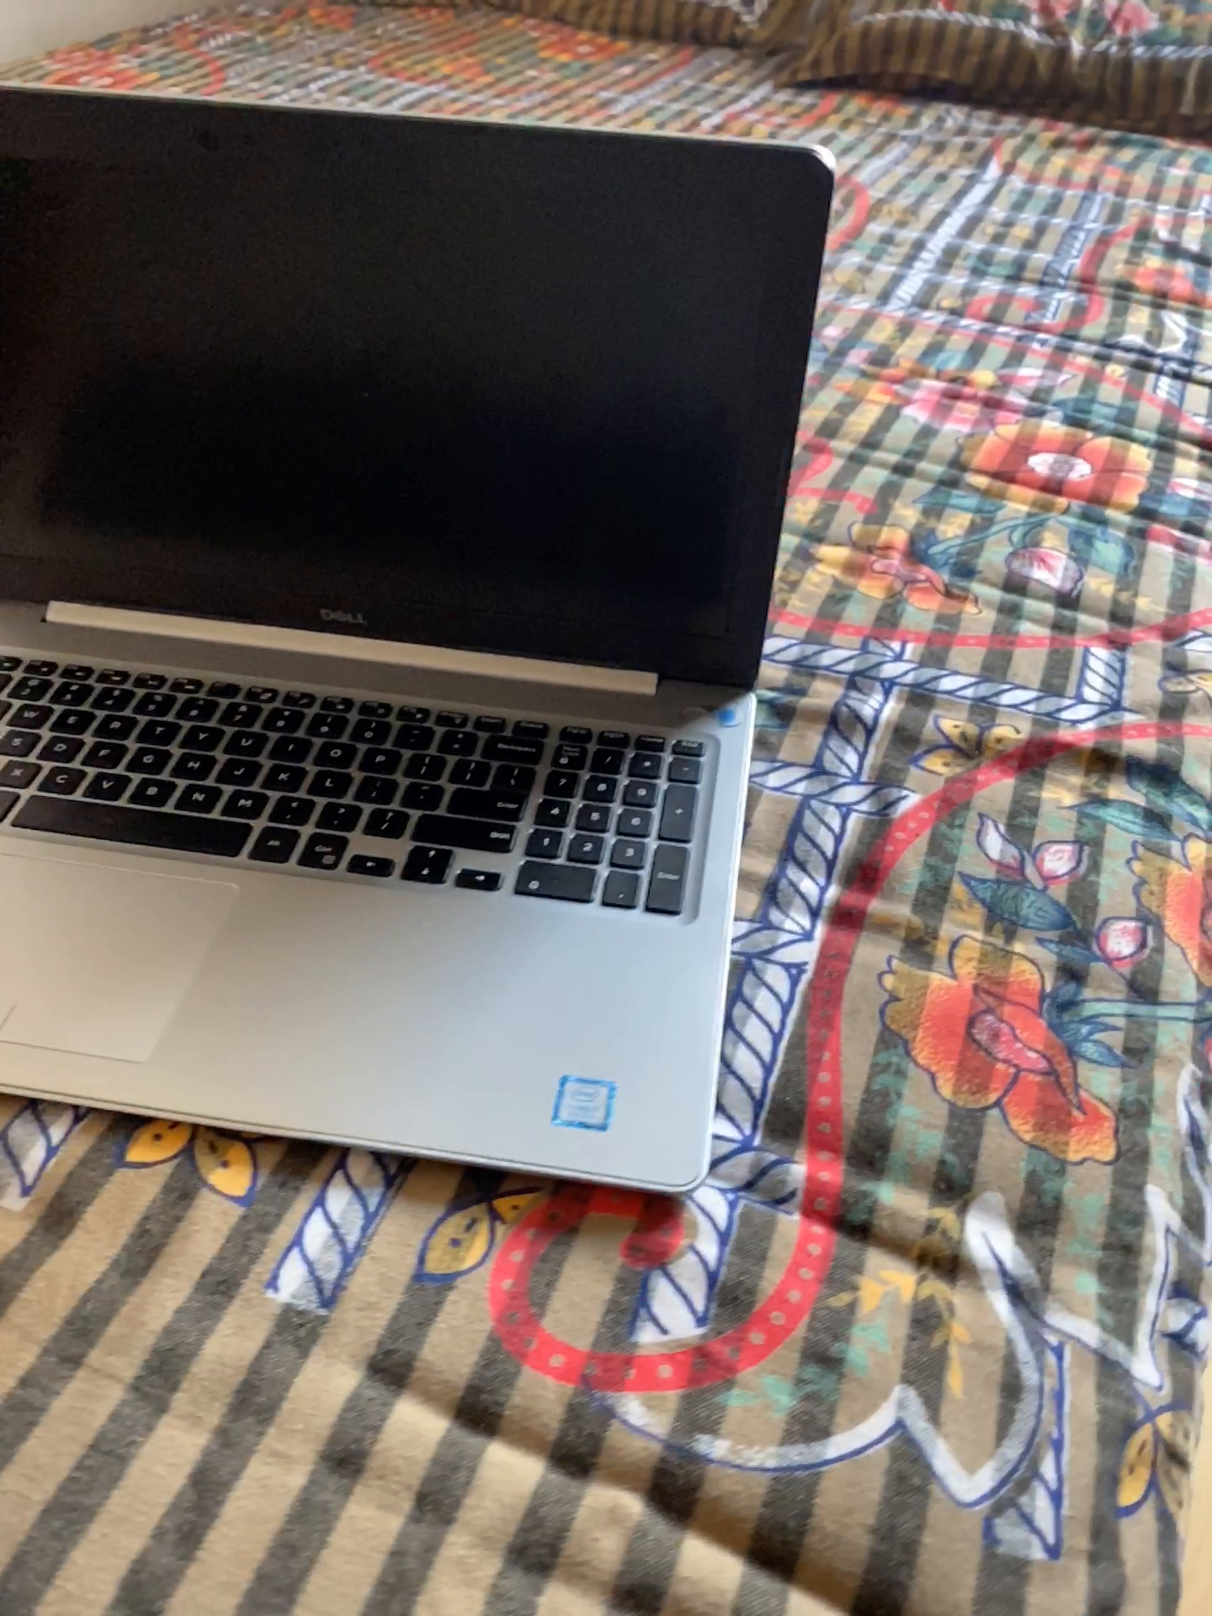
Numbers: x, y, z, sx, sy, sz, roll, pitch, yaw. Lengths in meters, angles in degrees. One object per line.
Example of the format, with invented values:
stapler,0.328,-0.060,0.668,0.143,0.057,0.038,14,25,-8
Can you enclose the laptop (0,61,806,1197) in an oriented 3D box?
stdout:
laptop,-0.142,-0.065,0.393,0.373,0.231,0.211,8,43,6
